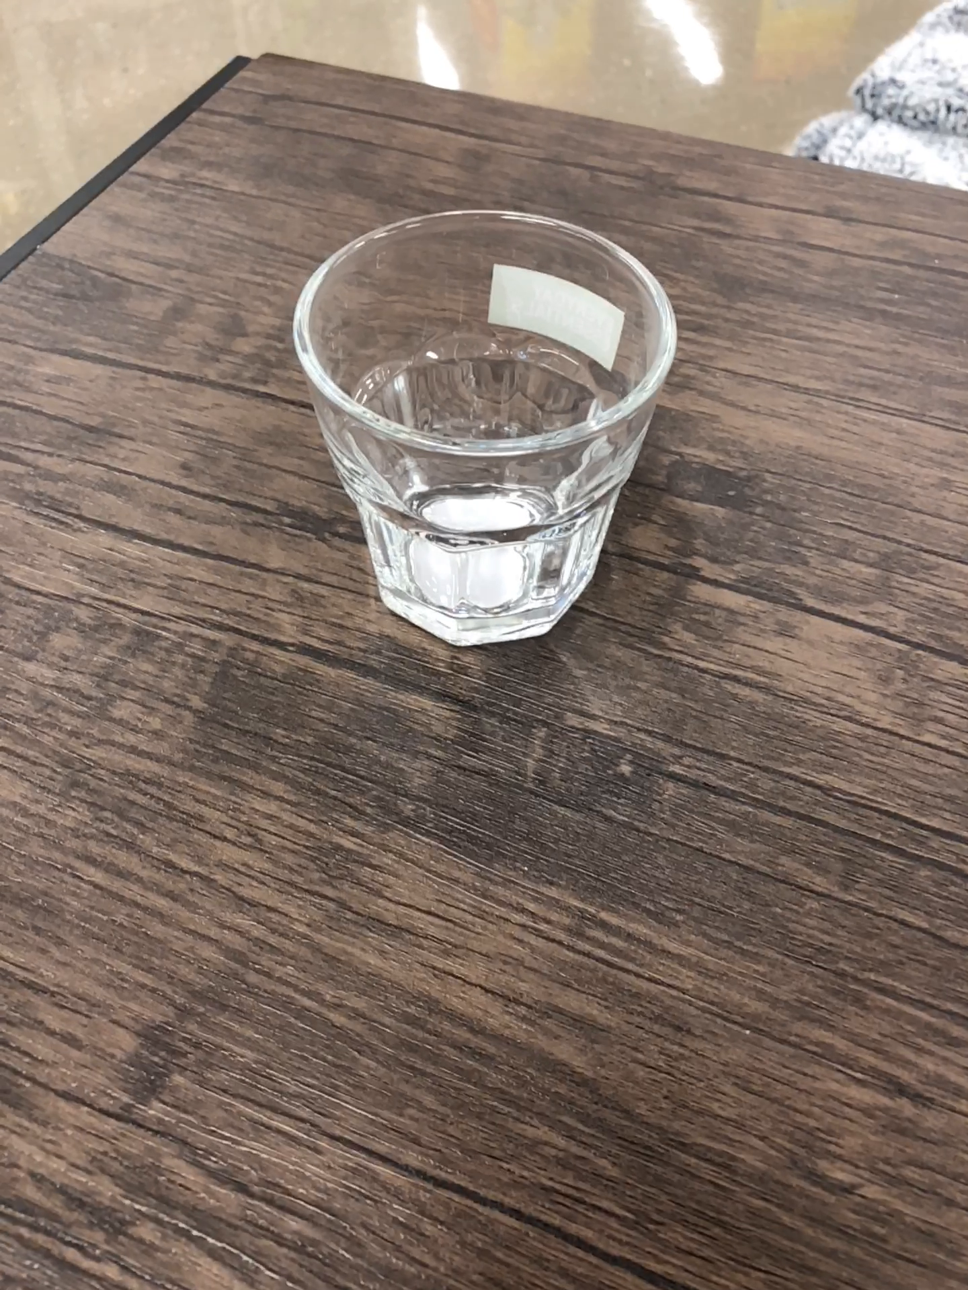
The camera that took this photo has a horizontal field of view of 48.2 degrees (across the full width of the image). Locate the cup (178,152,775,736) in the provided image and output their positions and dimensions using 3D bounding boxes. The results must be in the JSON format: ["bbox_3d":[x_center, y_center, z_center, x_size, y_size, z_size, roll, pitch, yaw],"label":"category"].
[{"bbox_3d":[-0.002,-0.051,0.257,0.090,0.070,0.090,0,52,0],"label":"cup"}]
